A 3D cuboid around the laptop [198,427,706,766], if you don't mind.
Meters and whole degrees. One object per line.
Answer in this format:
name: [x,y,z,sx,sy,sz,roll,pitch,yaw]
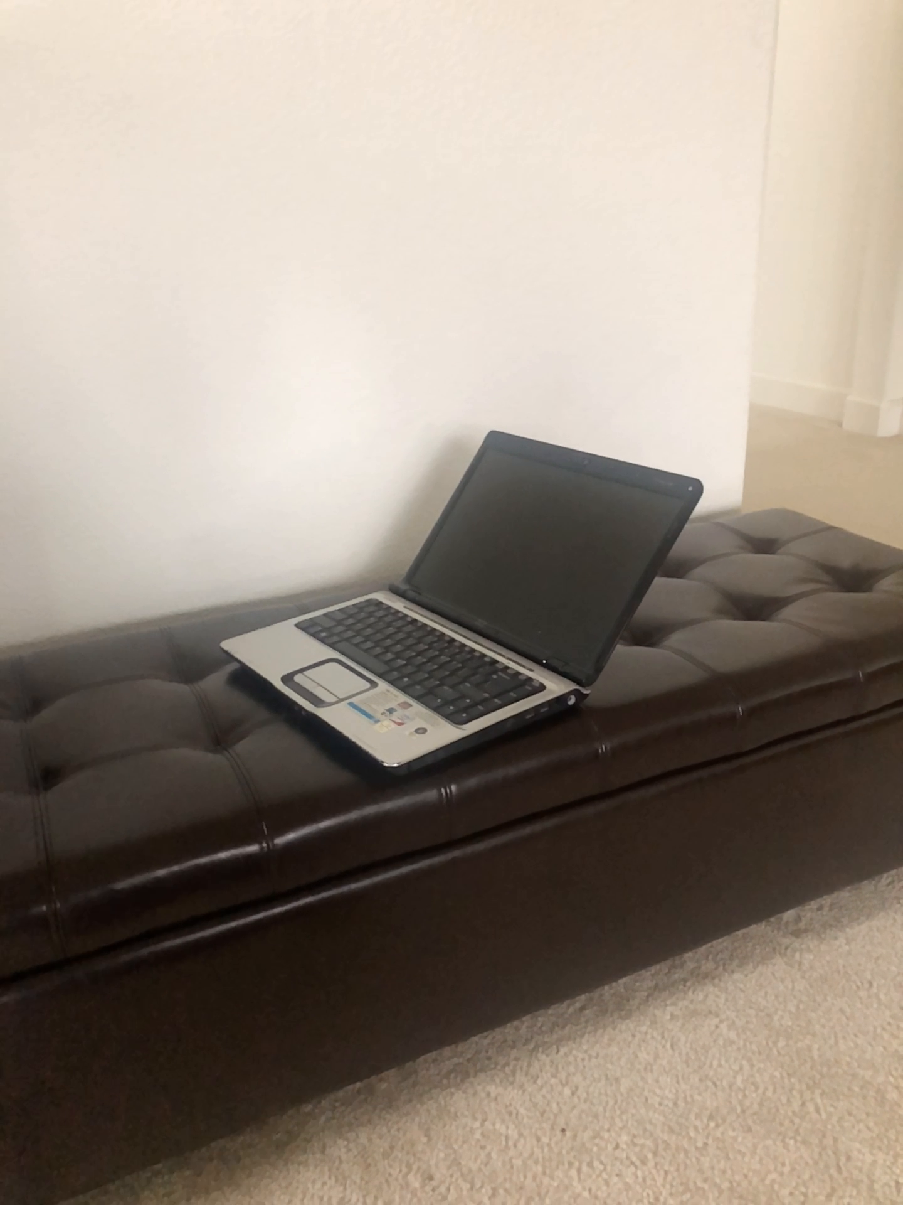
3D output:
laptop: [0.000,-0.040,1.001,0.381,0.161,0.327,-19,27,-34]
